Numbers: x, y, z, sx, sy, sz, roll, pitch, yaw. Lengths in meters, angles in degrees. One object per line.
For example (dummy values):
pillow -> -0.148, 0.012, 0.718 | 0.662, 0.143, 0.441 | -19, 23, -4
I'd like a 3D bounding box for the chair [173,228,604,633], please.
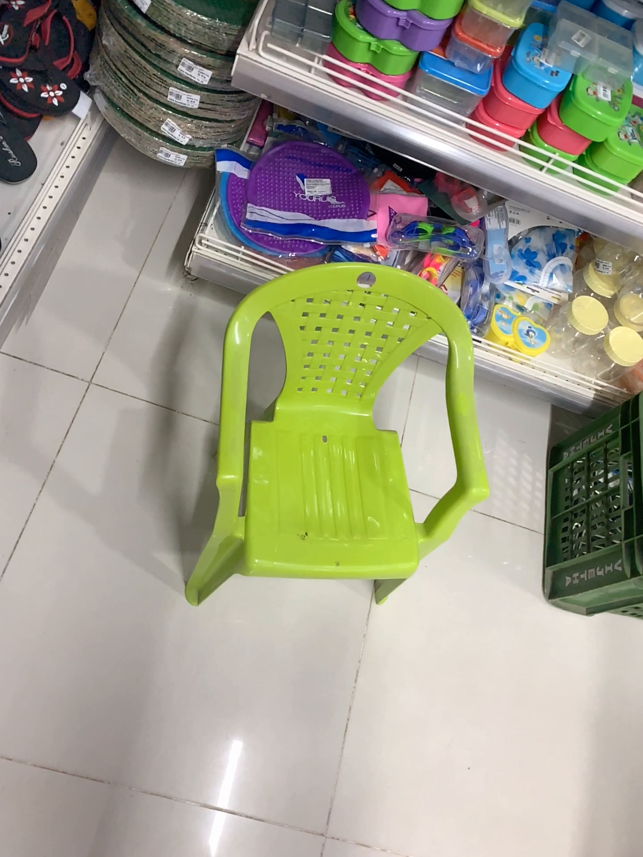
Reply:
chair -> 0.028, 0.061, 0.877 | 0.390, 0.469, 0.360 | 5, 66, -14
